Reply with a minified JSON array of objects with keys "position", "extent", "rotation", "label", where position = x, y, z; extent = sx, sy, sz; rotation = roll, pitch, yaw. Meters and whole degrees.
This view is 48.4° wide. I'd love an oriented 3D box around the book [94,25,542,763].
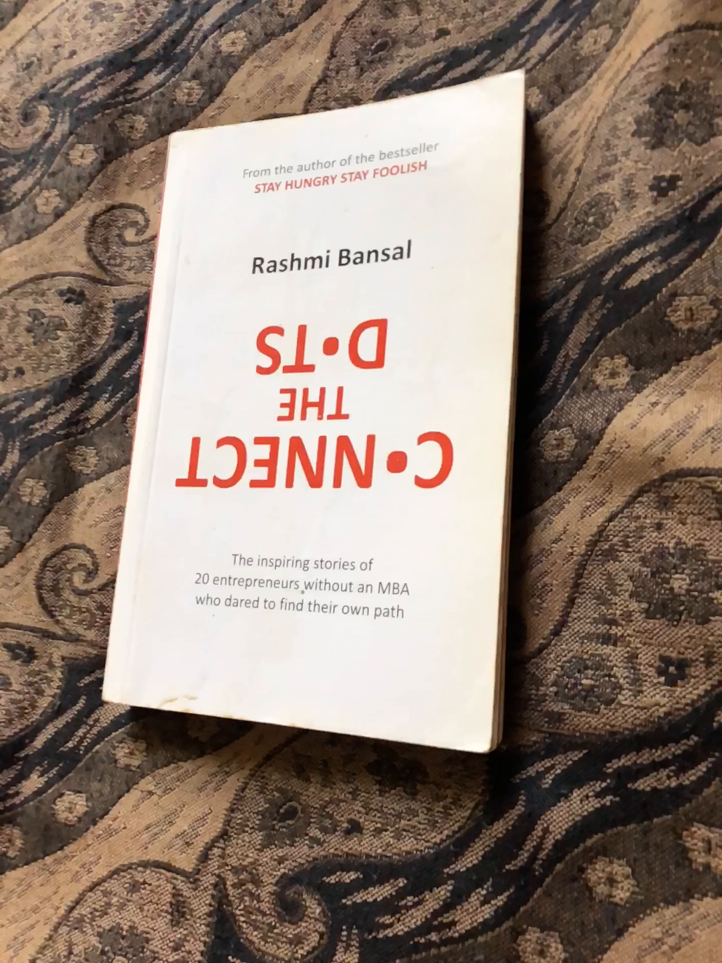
[{"position":[-0.011,-0.030,0.274],"extent":[0.130,0.040,0.220],"rotation":[-1,78,24],"label":"book"}]
